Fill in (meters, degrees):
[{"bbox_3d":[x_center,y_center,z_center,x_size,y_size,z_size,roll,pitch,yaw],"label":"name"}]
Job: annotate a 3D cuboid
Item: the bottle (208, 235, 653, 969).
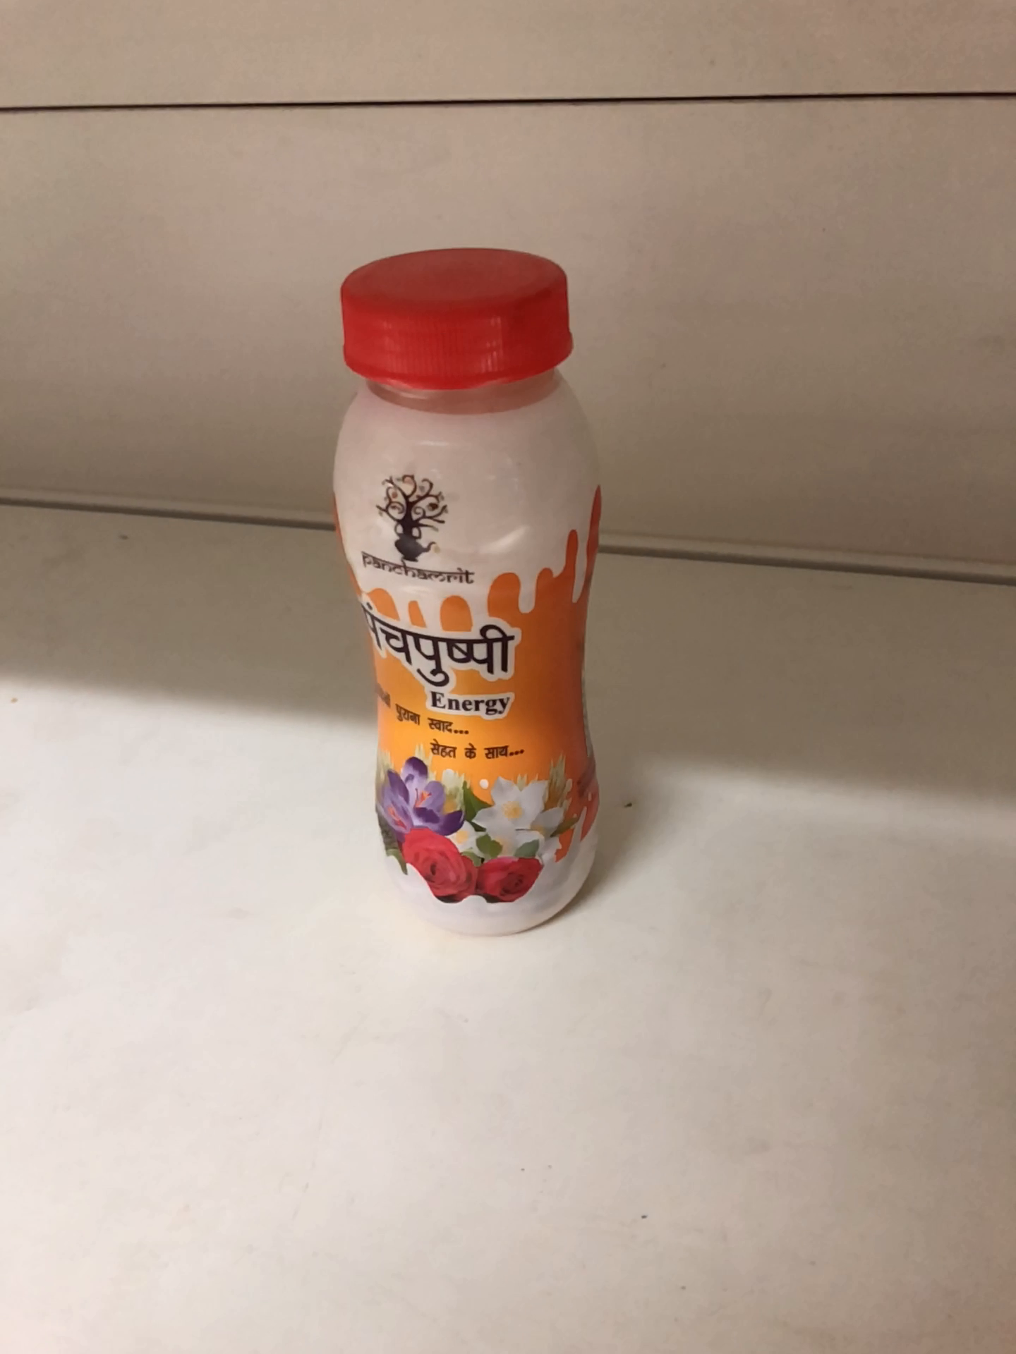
[{"bbox_3d":[-0.007,-0.015,0.229,0.060,0.129,0.060,-2,31,1],"label":"bottle"}]
